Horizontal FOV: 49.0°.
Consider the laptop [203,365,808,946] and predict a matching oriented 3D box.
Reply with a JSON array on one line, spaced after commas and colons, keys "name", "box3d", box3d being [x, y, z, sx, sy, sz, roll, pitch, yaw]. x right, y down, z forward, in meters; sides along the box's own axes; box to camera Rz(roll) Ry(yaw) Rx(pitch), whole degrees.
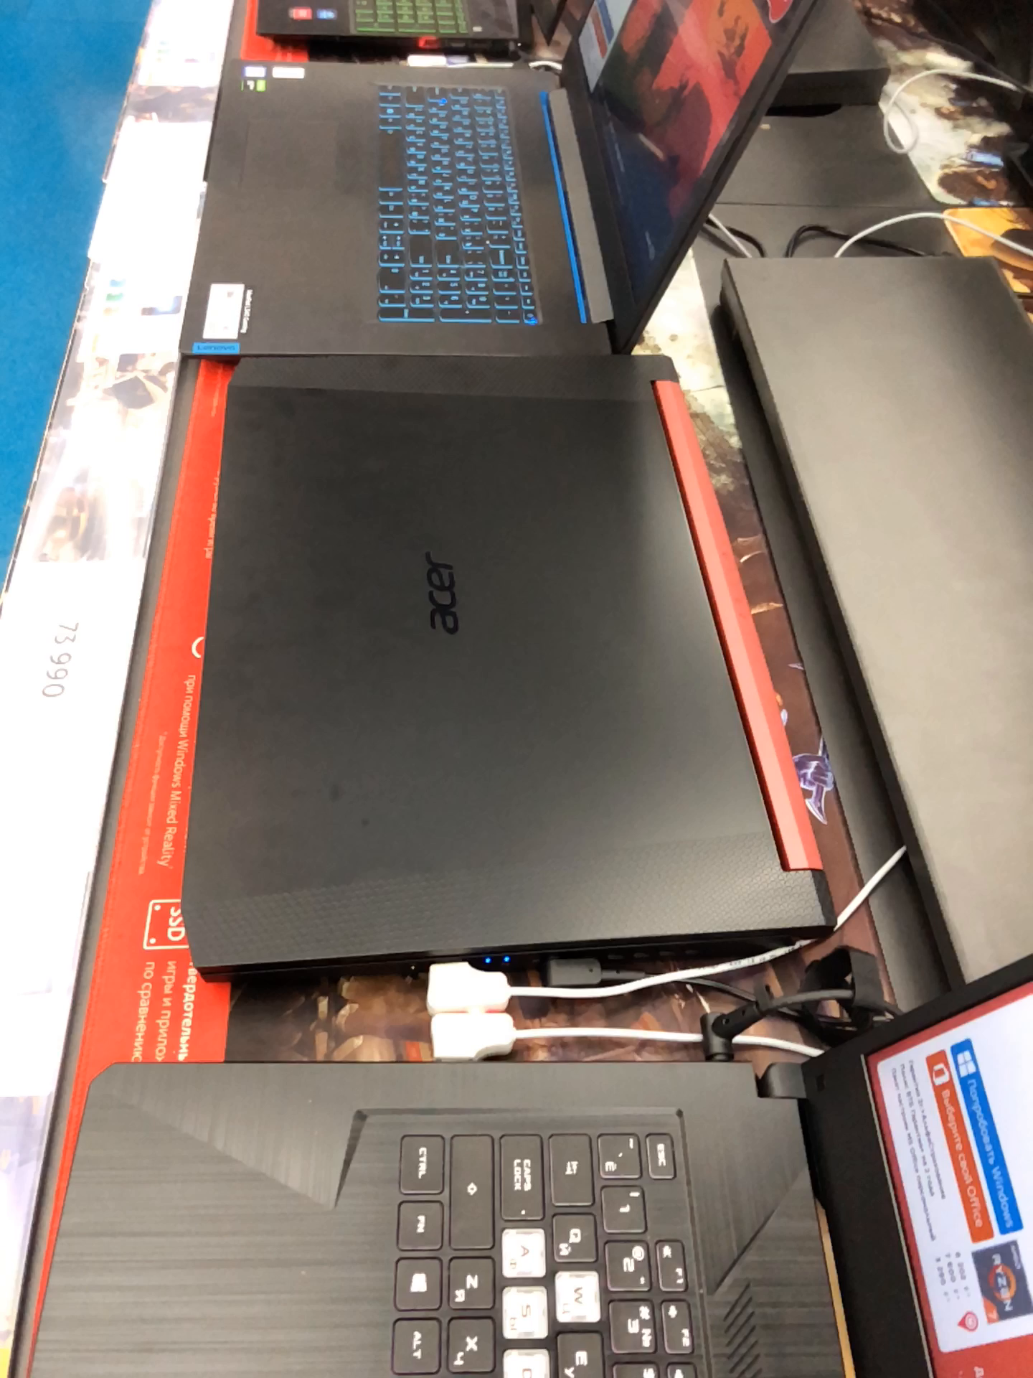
[{"name": "laptop", "box3d": [-0.017, -0.049, 0.586, 0.255, 0.002, 0.371, -2, 53, -6]}]
